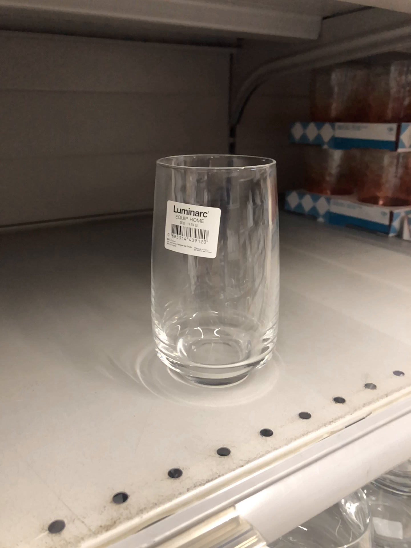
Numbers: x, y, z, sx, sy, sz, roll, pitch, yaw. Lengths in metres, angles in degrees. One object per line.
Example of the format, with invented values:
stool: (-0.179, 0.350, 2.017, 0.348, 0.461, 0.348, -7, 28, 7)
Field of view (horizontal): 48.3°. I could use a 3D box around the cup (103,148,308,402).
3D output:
cup: (0.002, -0.008, 0.254, 0.076, 0.112, 0.077, 0, 19, 0)
